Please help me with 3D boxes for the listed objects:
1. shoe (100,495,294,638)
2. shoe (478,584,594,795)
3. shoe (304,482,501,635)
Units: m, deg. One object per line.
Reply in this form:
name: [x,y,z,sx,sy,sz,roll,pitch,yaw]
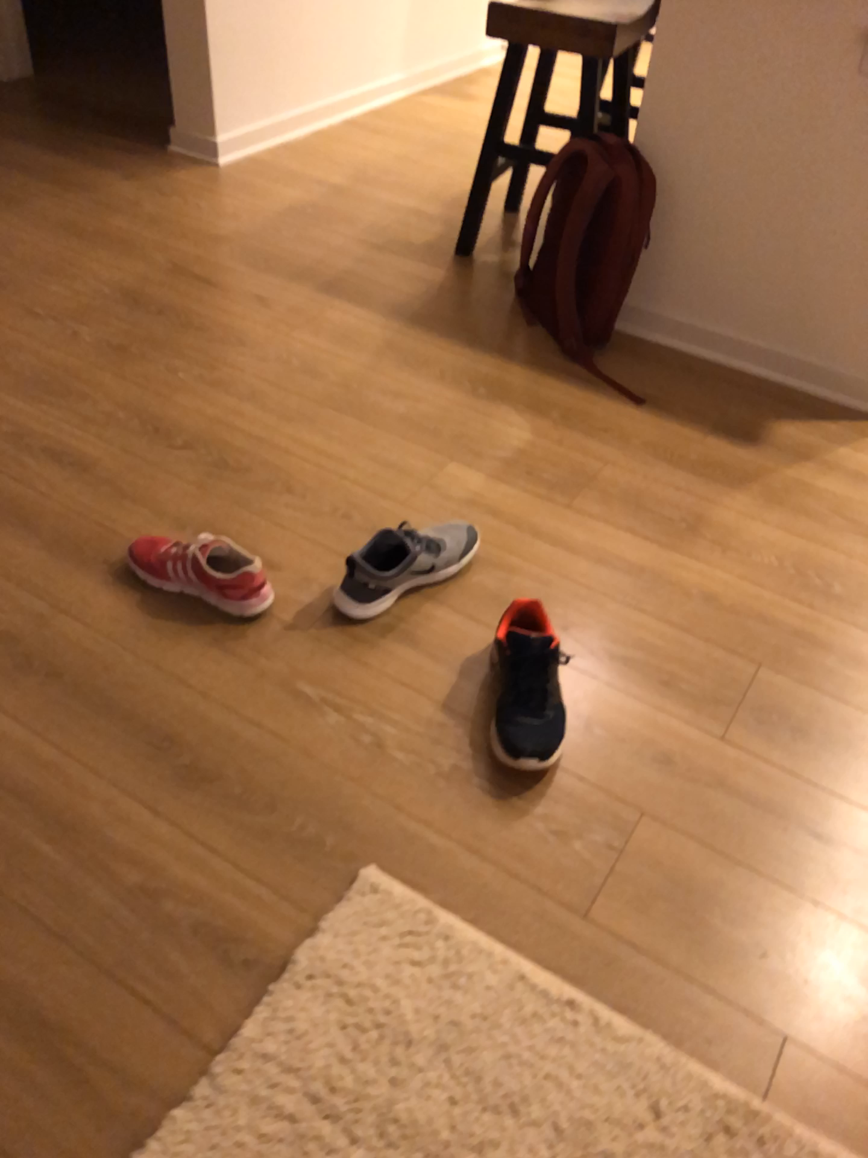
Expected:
shoe: [-0.386,-0.024,1.577,0.280,0.089,0.131,21,43,17]
shoe: [0.142,0.154,1.423,0.130,0.099,0.322,2,41,-3]
shoe: [-0.049,-0.042,1.610,0.321,0.080,0.130,-30,52,-34]
